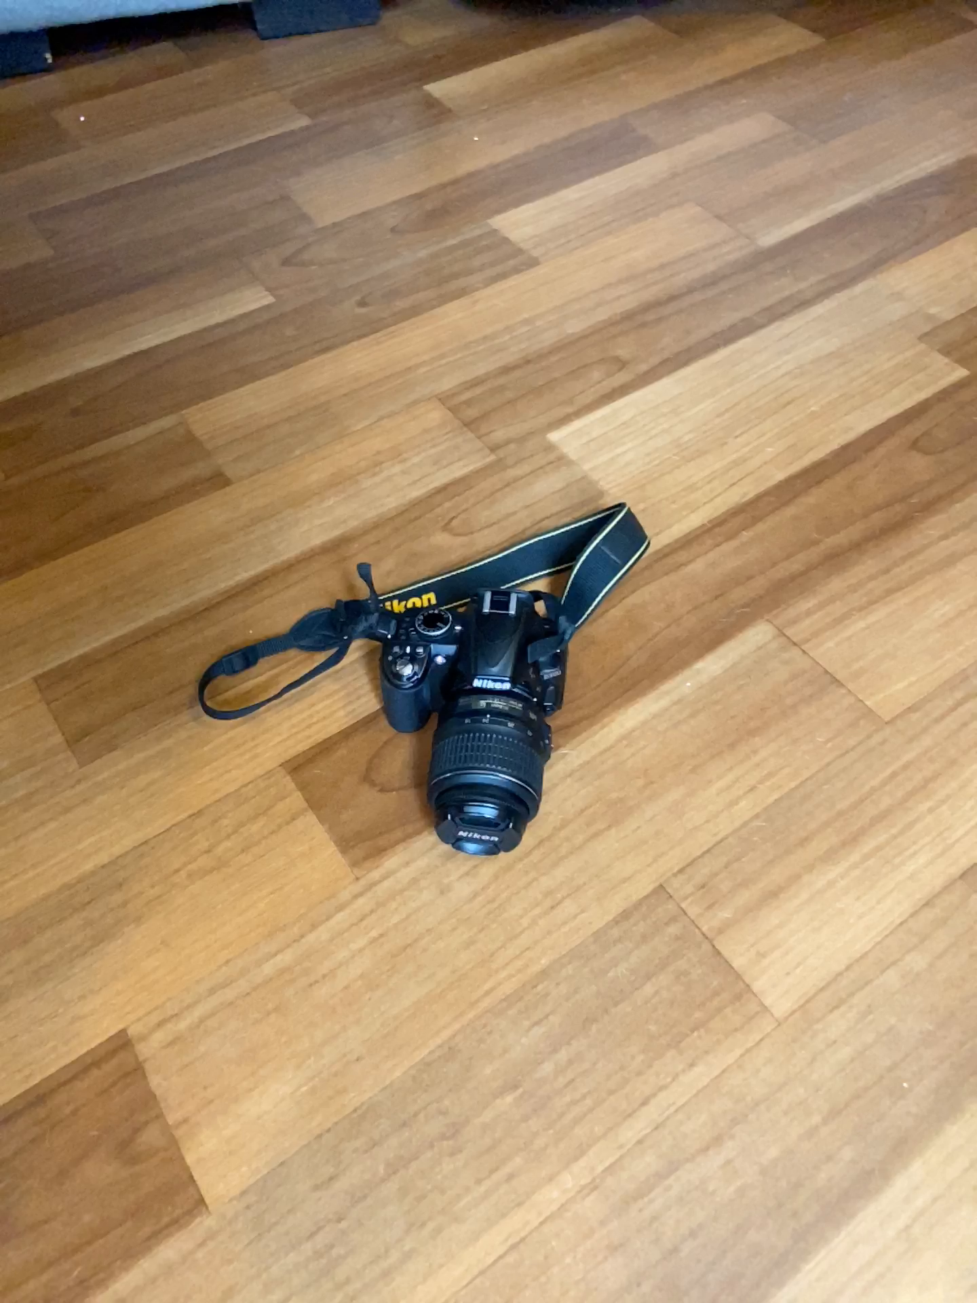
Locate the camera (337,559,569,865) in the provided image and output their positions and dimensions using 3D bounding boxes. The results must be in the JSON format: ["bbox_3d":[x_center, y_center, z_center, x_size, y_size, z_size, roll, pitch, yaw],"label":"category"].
[{"bbox_3d":[-0.015,0.035,0.626,0.120,0.090,0.162,3,53,4],"label":"camera"}]
